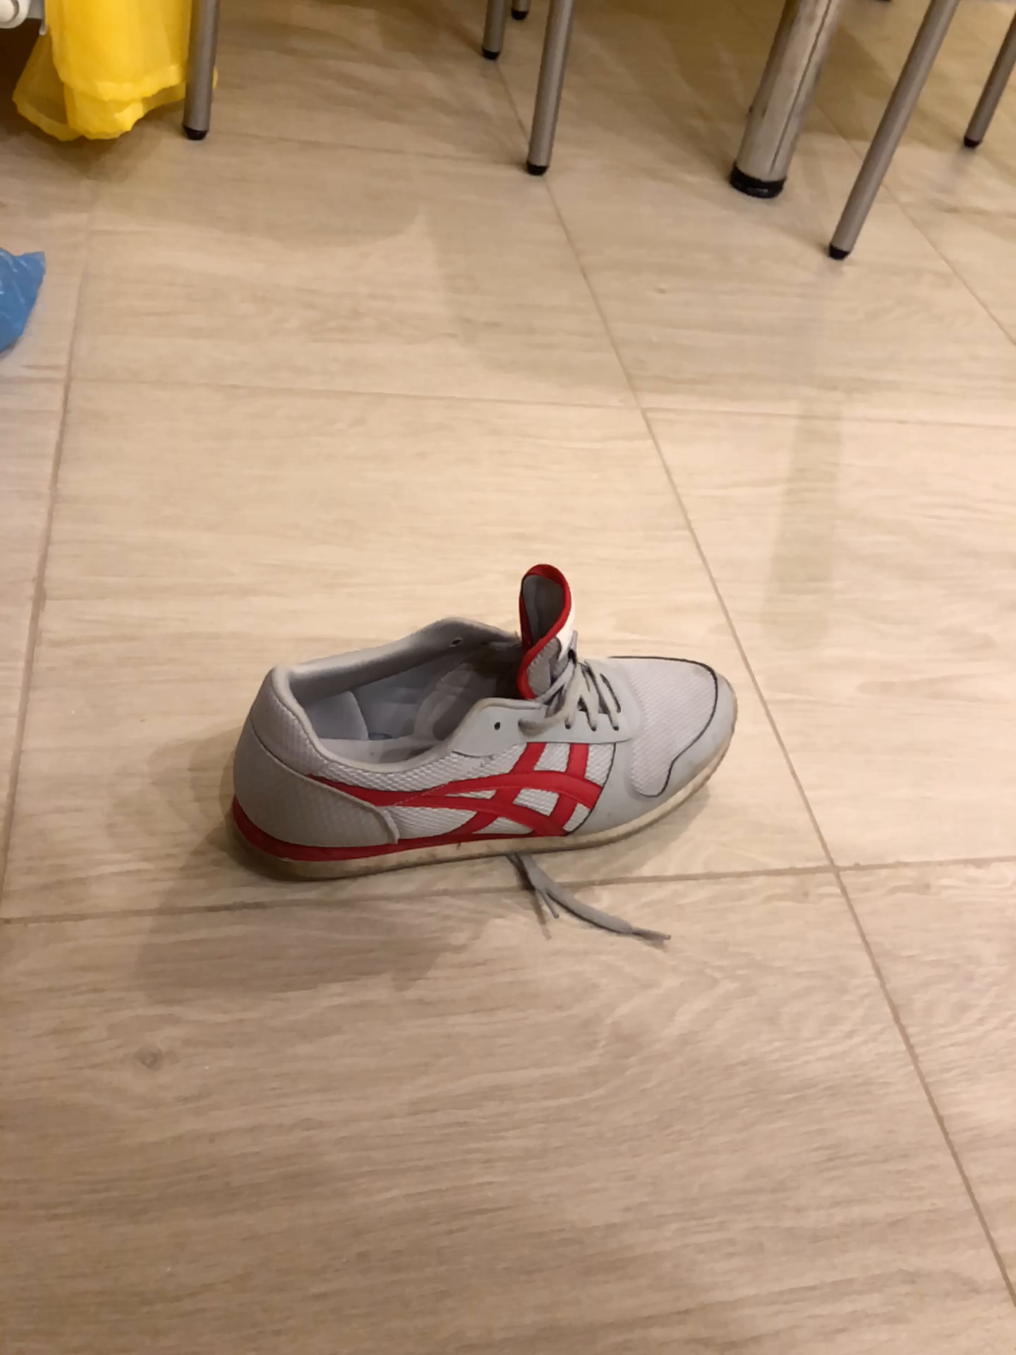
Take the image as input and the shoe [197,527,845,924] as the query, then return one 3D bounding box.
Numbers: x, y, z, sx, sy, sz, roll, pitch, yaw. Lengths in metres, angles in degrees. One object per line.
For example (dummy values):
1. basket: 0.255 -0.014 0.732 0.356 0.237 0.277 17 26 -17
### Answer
1. shoe: 0.000 0.018 0.584 0.298 0.129 0.111 -8 50 -20
